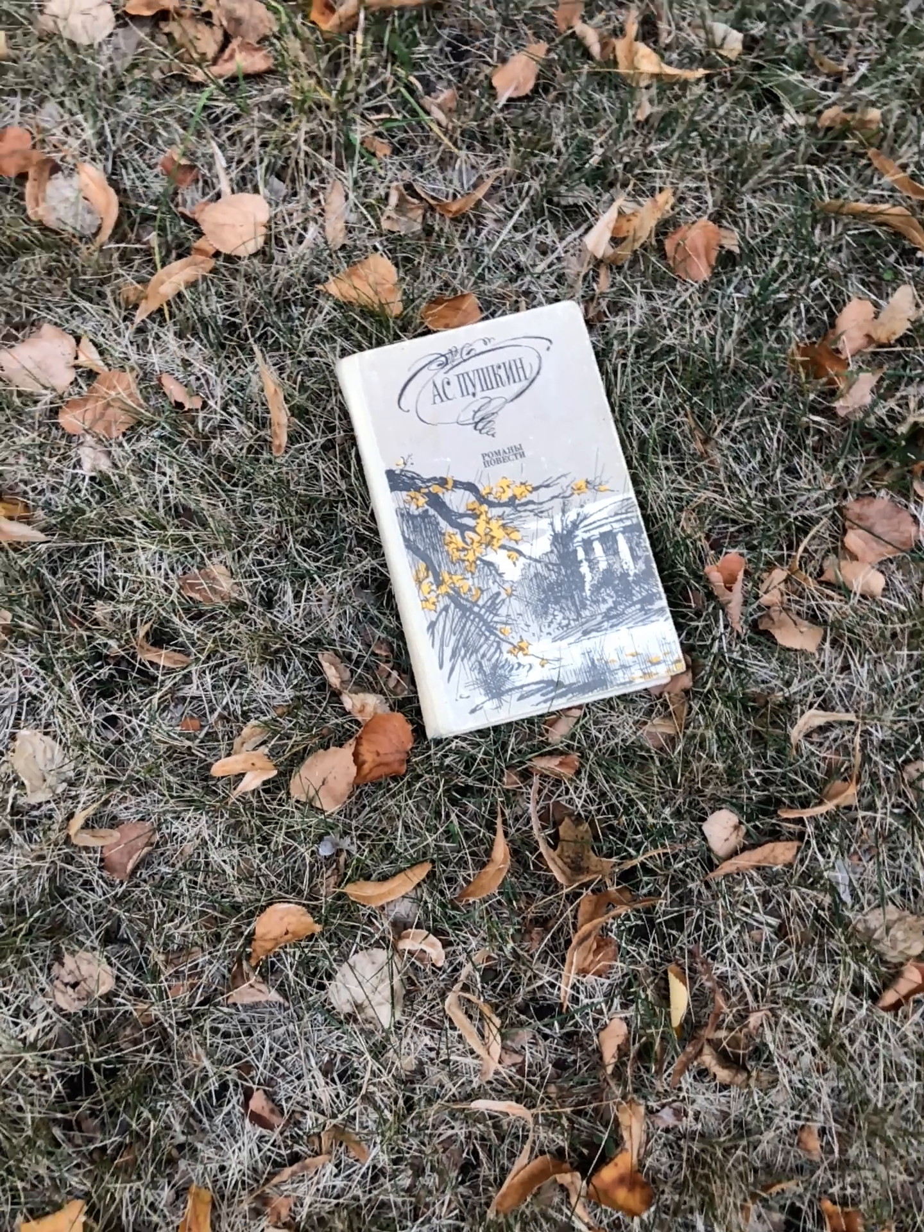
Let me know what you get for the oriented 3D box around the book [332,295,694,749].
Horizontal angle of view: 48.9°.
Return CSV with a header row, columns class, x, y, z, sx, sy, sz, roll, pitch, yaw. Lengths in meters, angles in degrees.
class,x,y,z,sx,sy,sz,roll,pitch,yaw
book,0.024,-0.051,0.530,0.135,0.021,0.210,-14,83,-5
